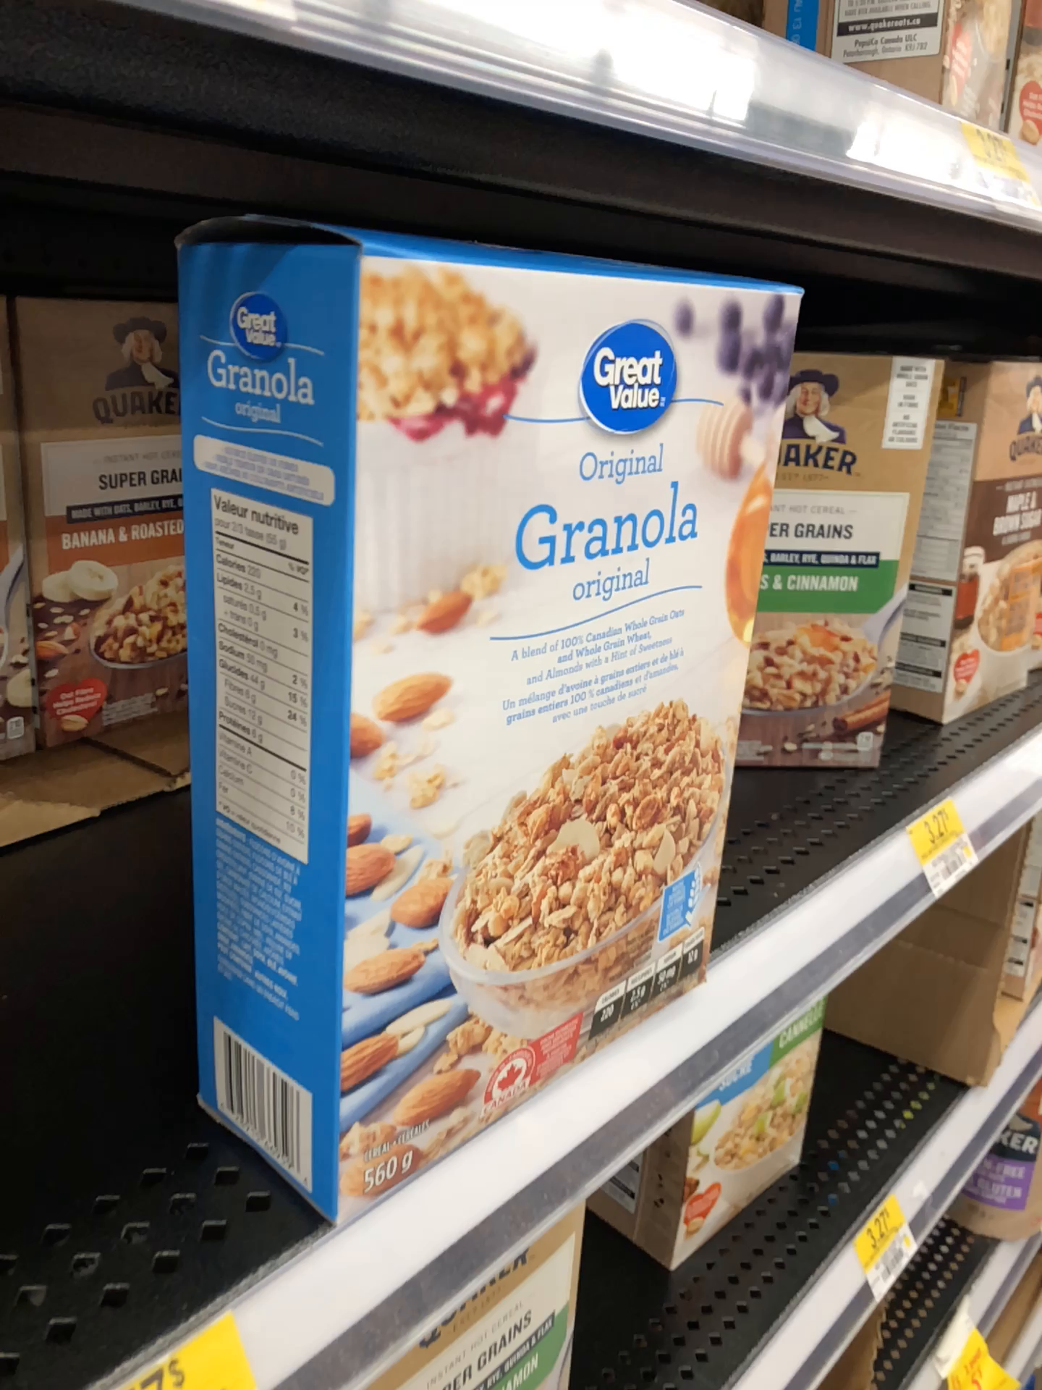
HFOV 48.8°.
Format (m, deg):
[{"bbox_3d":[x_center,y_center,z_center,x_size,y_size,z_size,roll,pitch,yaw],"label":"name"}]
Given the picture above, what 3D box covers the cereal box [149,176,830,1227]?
[{"bbox_3d":[-0.004,-0.009,0.305,0.070,0.219,0.160,19,24,38],"label":"cereal box"}]
